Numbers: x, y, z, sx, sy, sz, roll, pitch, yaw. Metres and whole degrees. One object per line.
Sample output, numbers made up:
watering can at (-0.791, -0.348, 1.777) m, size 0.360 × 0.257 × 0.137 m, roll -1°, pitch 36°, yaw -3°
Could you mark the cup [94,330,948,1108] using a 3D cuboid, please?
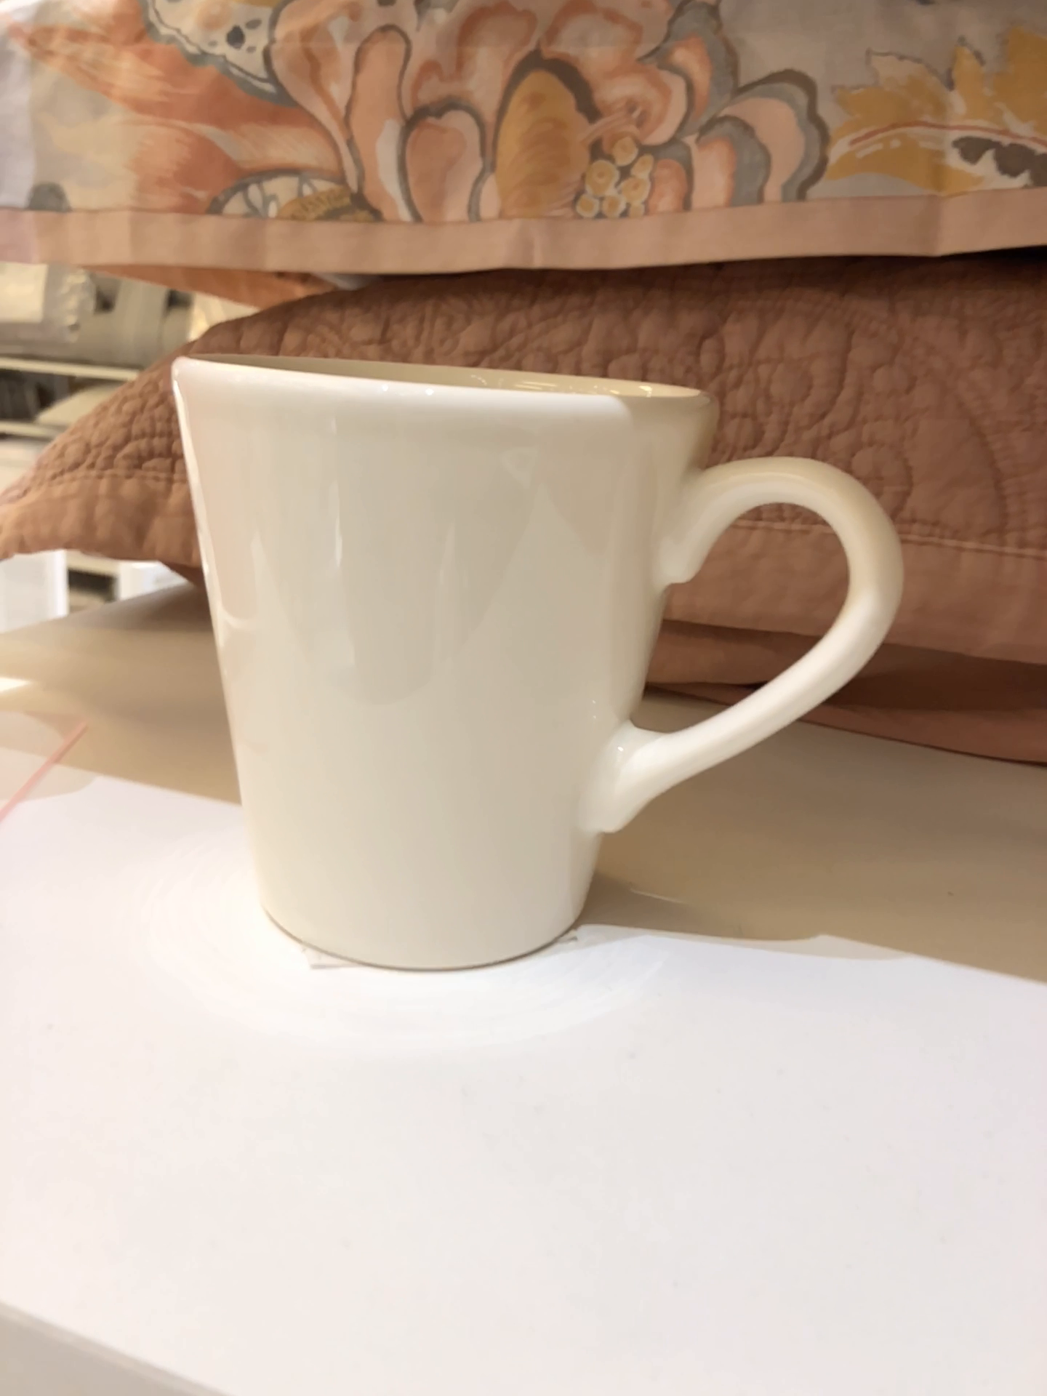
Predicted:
cup at (0.000, -0.006, 0.200) m, size 0.110 × 0.099 × 0.080 m, roll 7°, pitch 17°, yaw 8°
